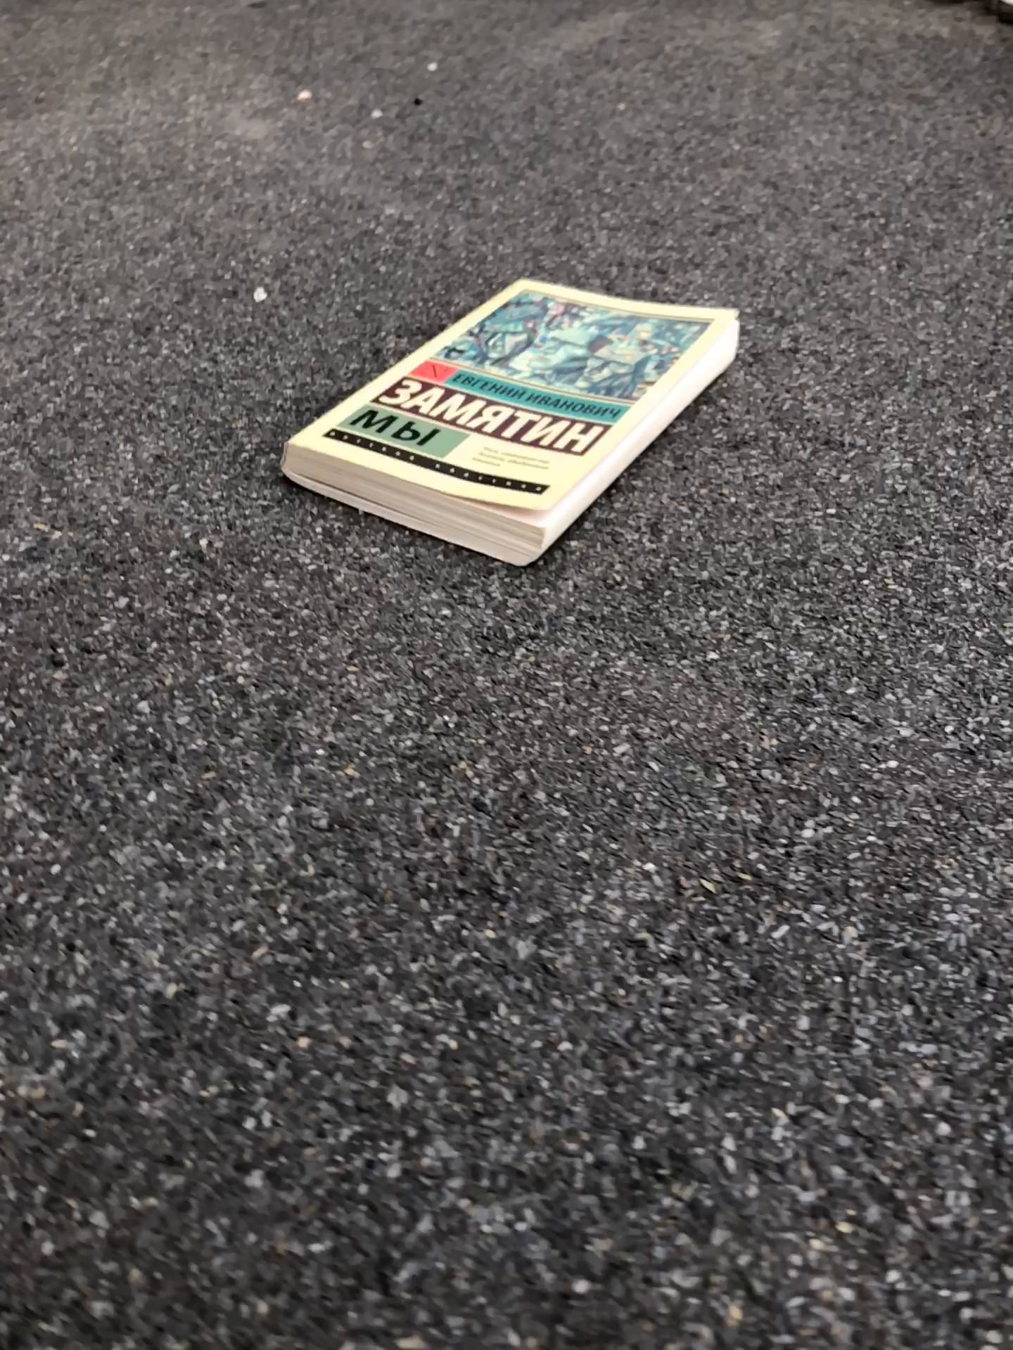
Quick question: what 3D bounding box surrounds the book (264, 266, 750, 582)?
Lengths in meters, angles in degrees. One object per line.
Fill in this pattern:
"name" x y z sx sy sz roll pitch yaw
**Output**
"book" 0.008 -0.113 0.456 0.120 0.026 0.182 20 45 23
